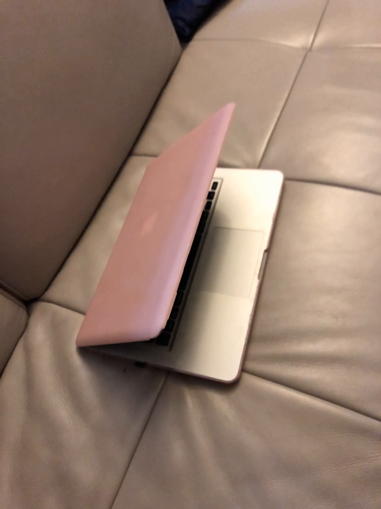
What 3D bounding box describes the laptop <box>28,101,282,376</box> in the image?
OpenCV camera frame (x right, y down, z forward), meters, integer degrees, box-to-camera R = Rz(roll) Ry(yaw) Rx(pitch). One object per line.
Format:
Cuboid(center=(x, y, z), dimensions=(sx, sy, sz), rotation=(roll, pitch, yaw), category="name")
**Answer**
Cuboid(center=(-0.019, -0.033, 0.547), dimensions=(0.219, 0.145, 0.308), rotation=(8, 63, 20), category="laptop")
